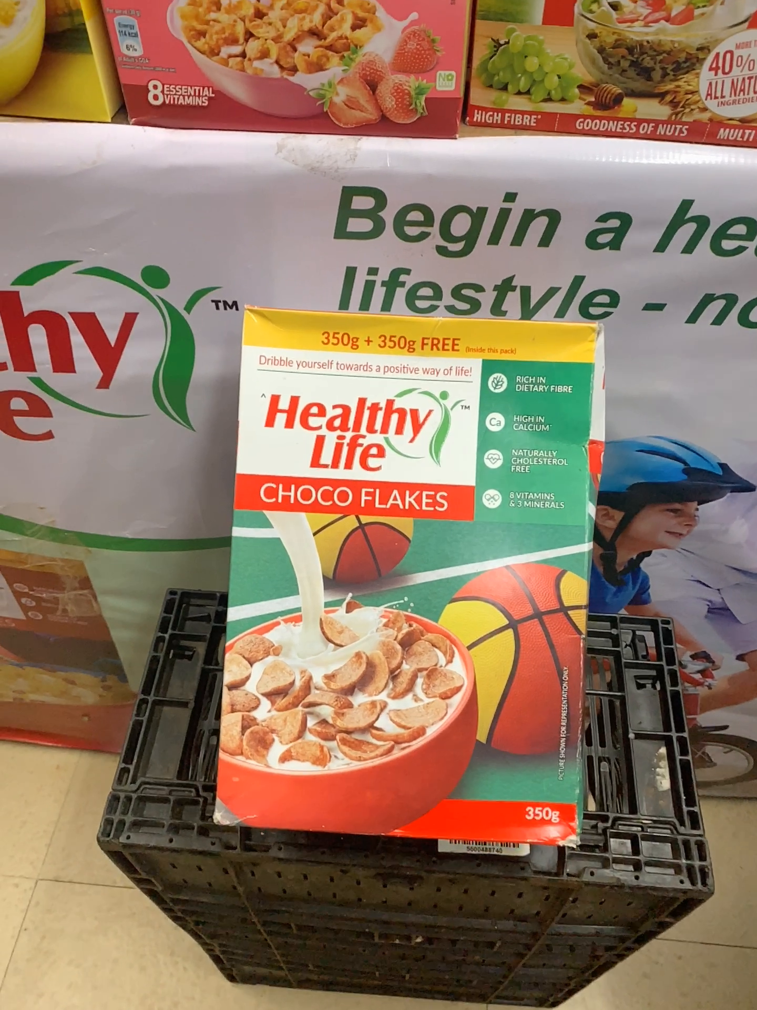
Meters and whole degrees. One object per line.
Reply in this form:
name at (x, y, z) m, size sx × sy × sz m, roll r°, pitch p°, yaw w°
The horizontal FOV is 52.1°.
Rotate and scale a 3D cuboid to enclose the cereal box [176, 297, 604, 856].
cereal box at (0.007, 0.035, 0.447) m, size 0.210 × 0.090 × 0.280 m, roll 2°, pitch 90°, yaw 2°
